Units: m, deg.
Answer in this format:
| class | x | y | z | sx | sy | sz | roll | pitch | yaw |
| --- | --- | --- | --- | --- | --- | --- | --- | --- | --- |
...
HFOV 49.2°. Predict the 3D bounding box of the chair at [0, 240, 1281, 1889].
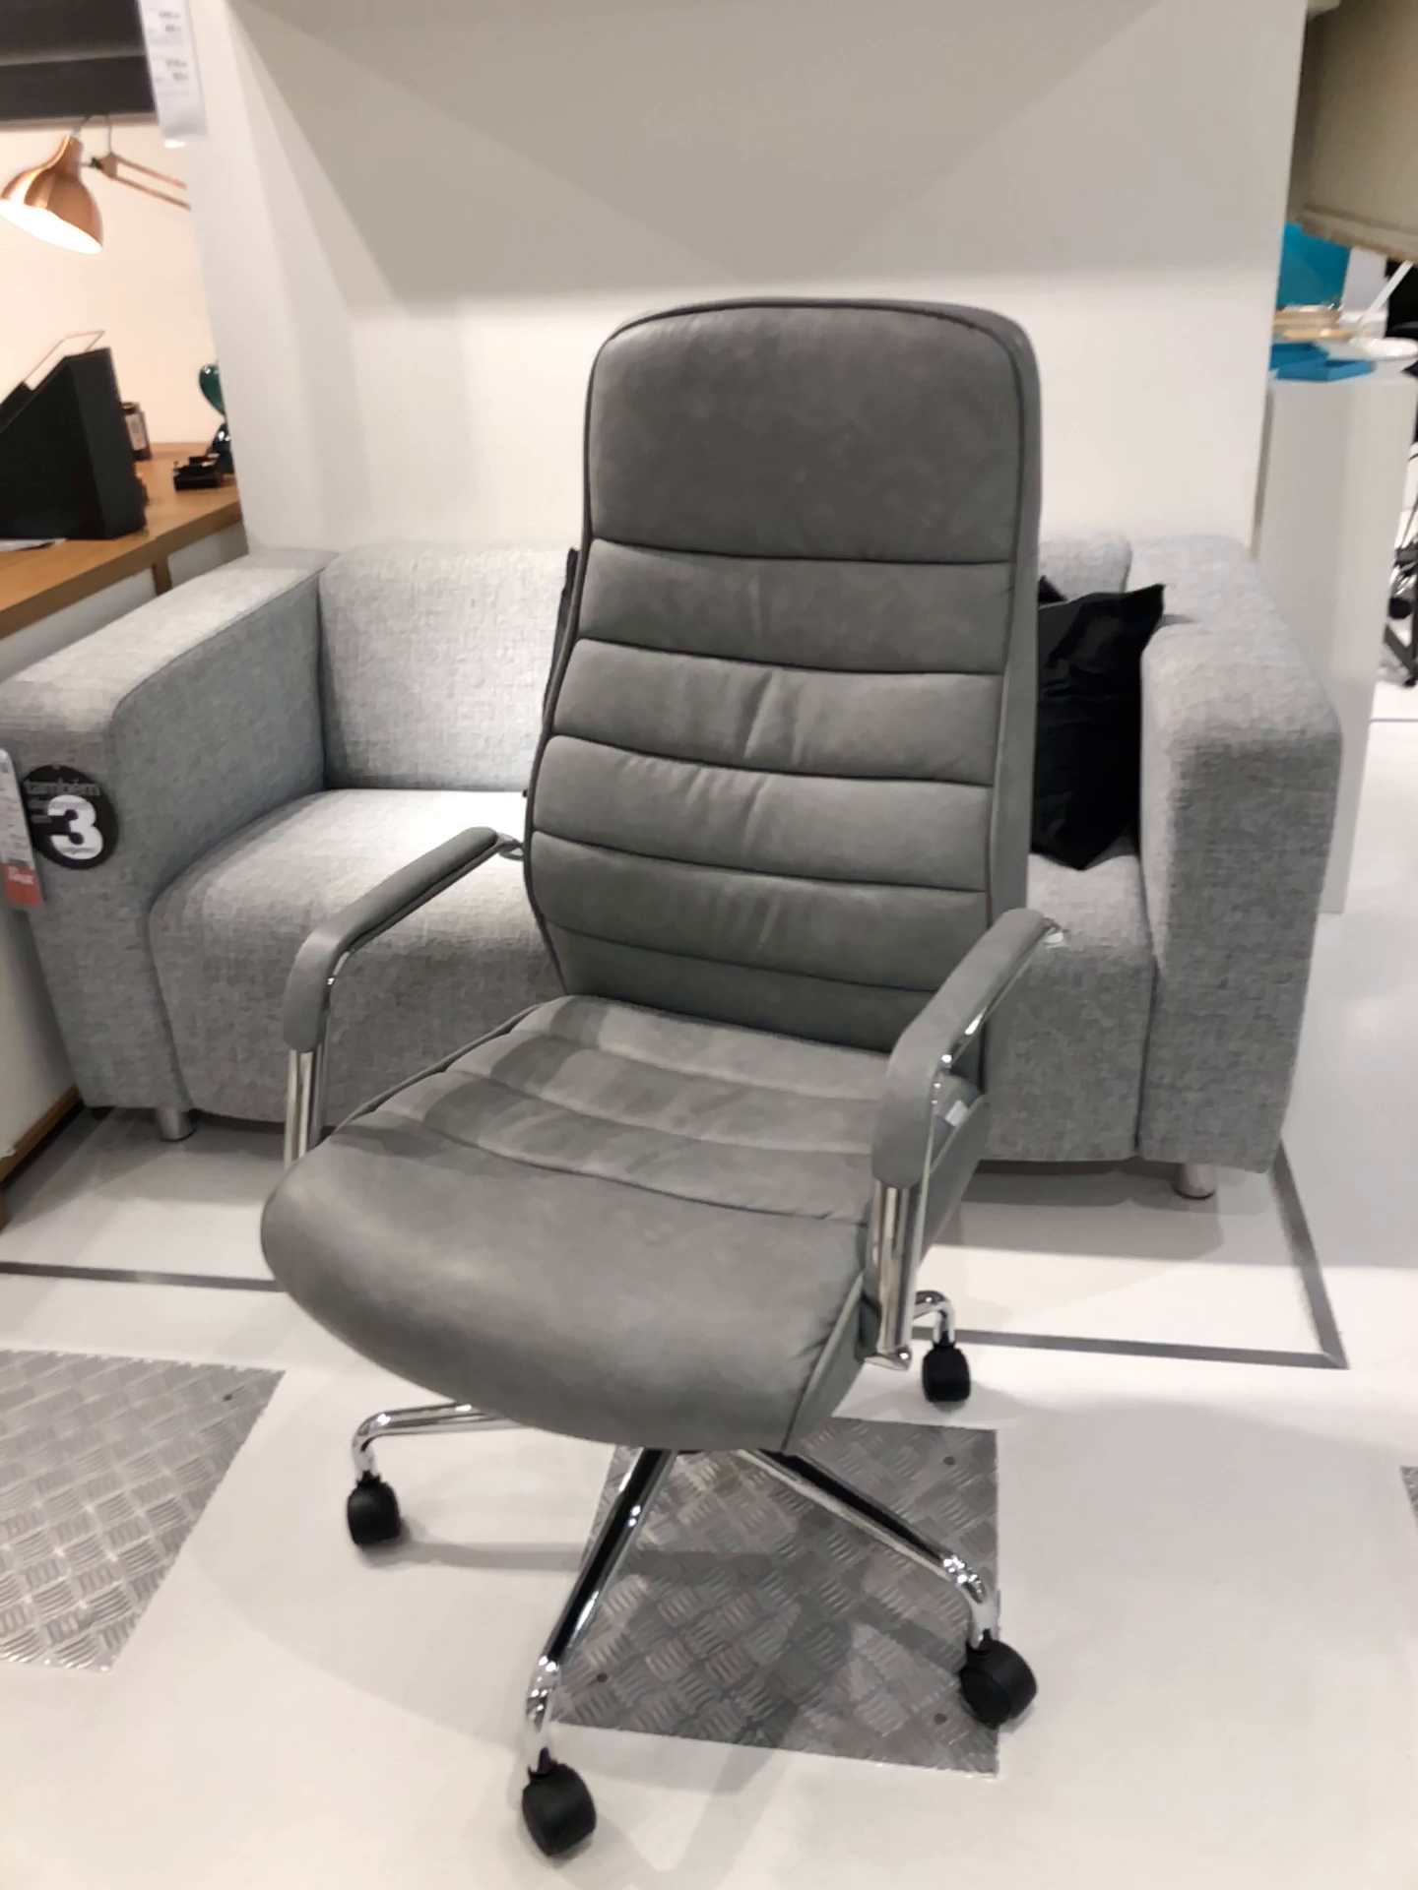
| class | x | y | z | sx | sy | sz | roll | pitch | yaw |
| --- | --- | --- | --- | --- | --- | --- | --- | --- | --- |
| chair | -0.023 | 0.038 | 1.254 | 0.721 | 1.053 | 0.724 | 10 | 29 | 24 |
